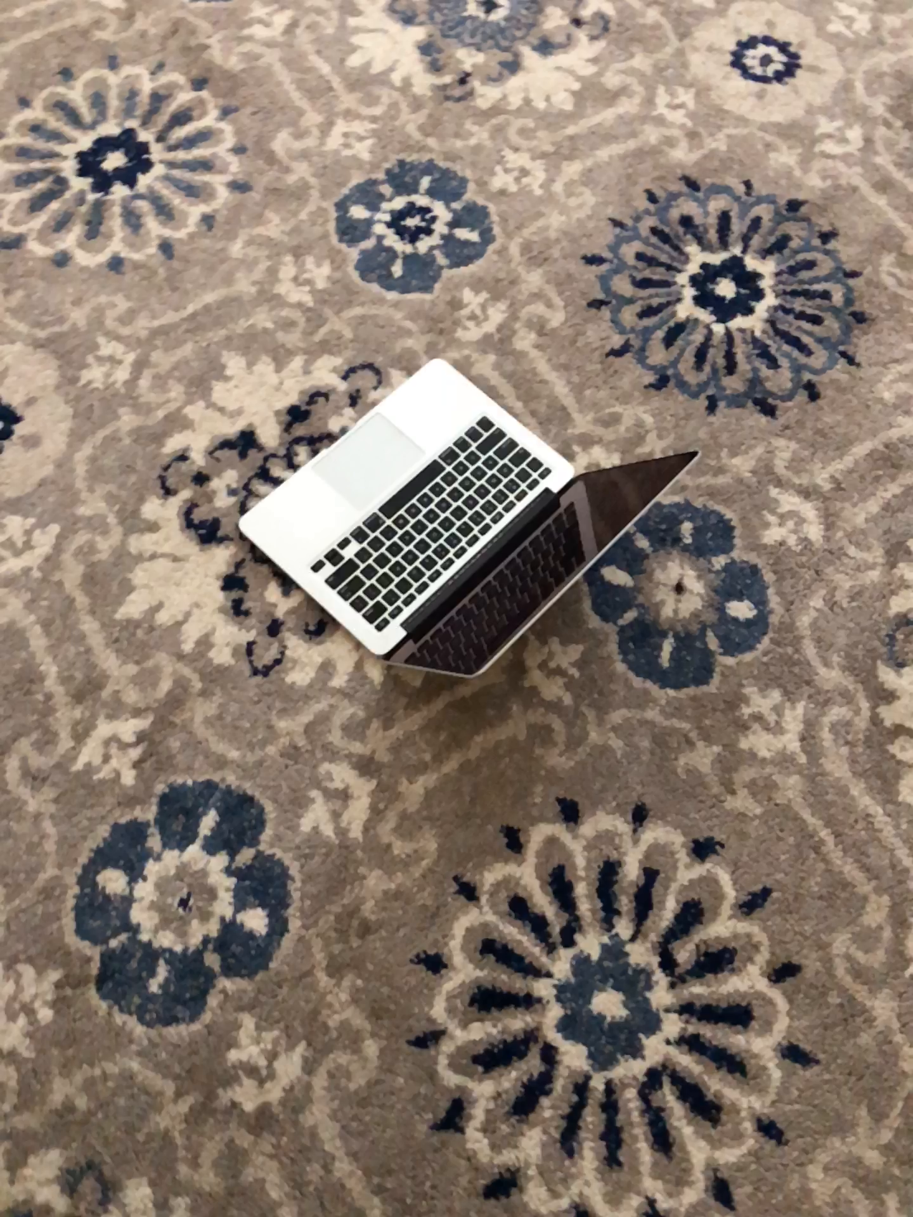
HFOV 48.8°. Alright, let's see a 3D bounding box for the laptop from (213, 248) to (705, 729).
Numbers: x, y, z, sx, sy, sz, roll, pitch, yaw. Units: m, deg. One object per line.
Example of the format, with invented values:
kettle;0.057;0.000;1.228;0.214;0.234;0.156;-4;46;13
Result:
laptop;0.001;-0.118;0.990;0.322;0.171;0.300;42;71;12
